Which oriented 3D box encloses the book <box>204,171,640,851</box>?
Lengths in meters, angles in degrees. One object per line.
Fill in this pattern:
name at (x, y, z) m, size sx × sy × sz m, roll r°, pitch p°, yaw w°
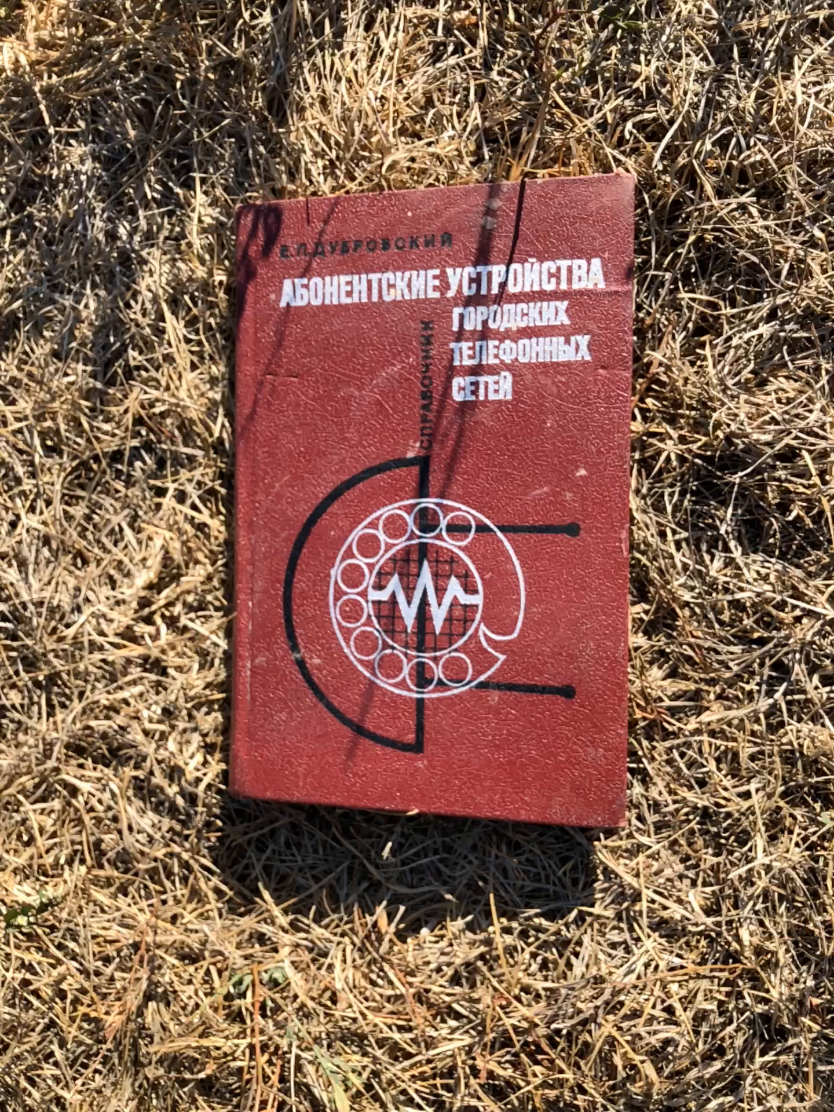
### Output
book at (0.001, -0.015, 0.319) m, size 0.141 × 0.030 × 0.211 m, roll 1°, pitch 91°, yaw 12°
